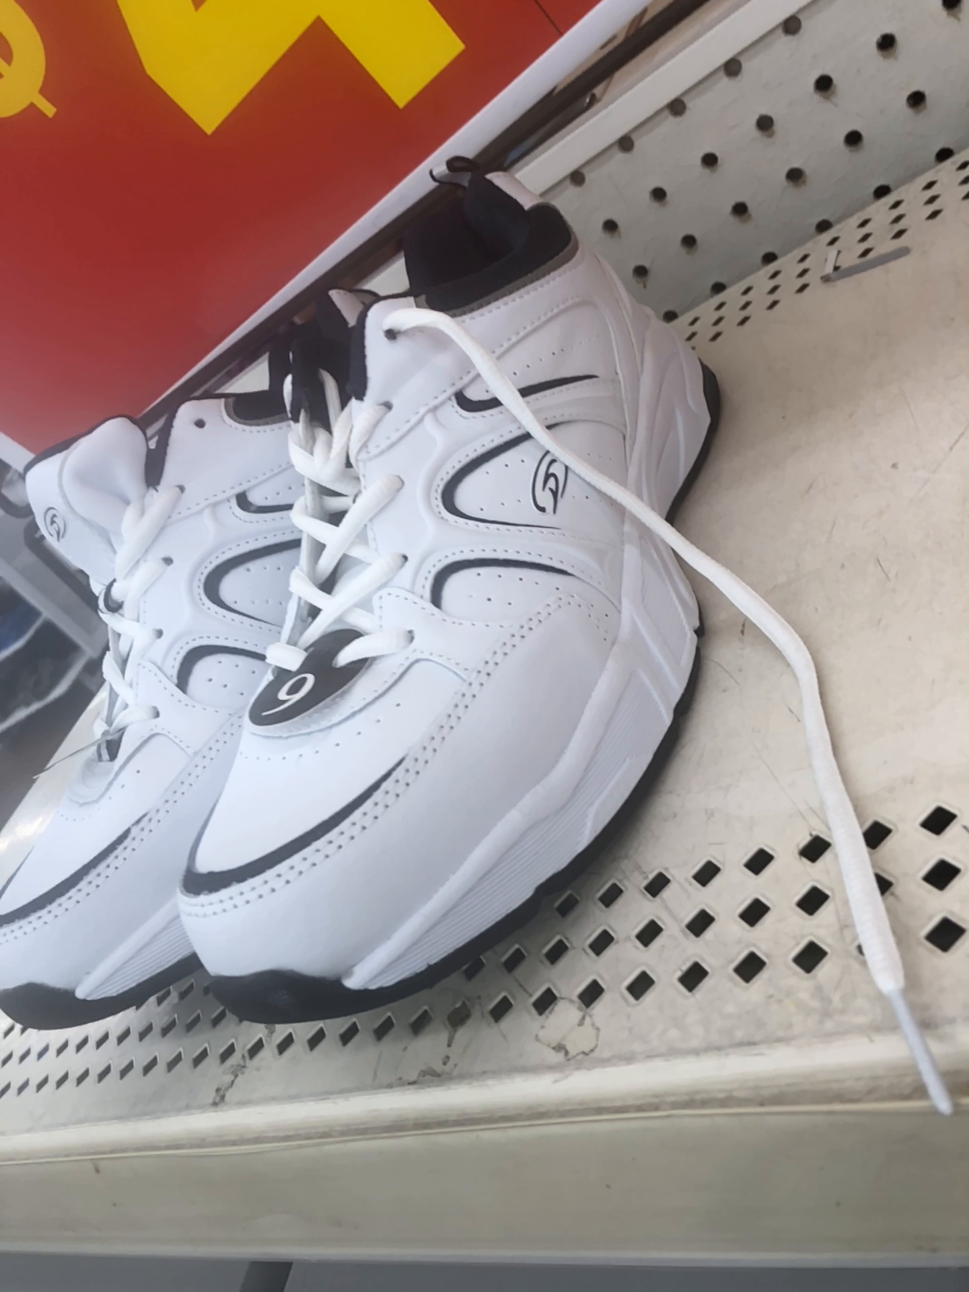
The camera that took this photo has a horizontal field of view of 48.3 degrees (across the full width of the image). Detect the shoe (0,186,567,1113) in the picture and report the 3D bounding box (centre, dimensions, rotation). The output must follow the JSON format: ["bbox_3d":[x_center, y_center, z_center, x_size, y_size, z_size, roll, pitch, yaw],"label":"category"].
[{"bbox_3d":[-0.088,-0.010,0.348,0.110,0.119,0.260,-16,37,41],"label":"shoe"}]

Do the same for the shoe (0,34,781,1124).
[{"bbox_3d":[-0.014,-0.030,0.288,0.110,0.119,0.260,-20,35,38],"label":"shoe"}]
